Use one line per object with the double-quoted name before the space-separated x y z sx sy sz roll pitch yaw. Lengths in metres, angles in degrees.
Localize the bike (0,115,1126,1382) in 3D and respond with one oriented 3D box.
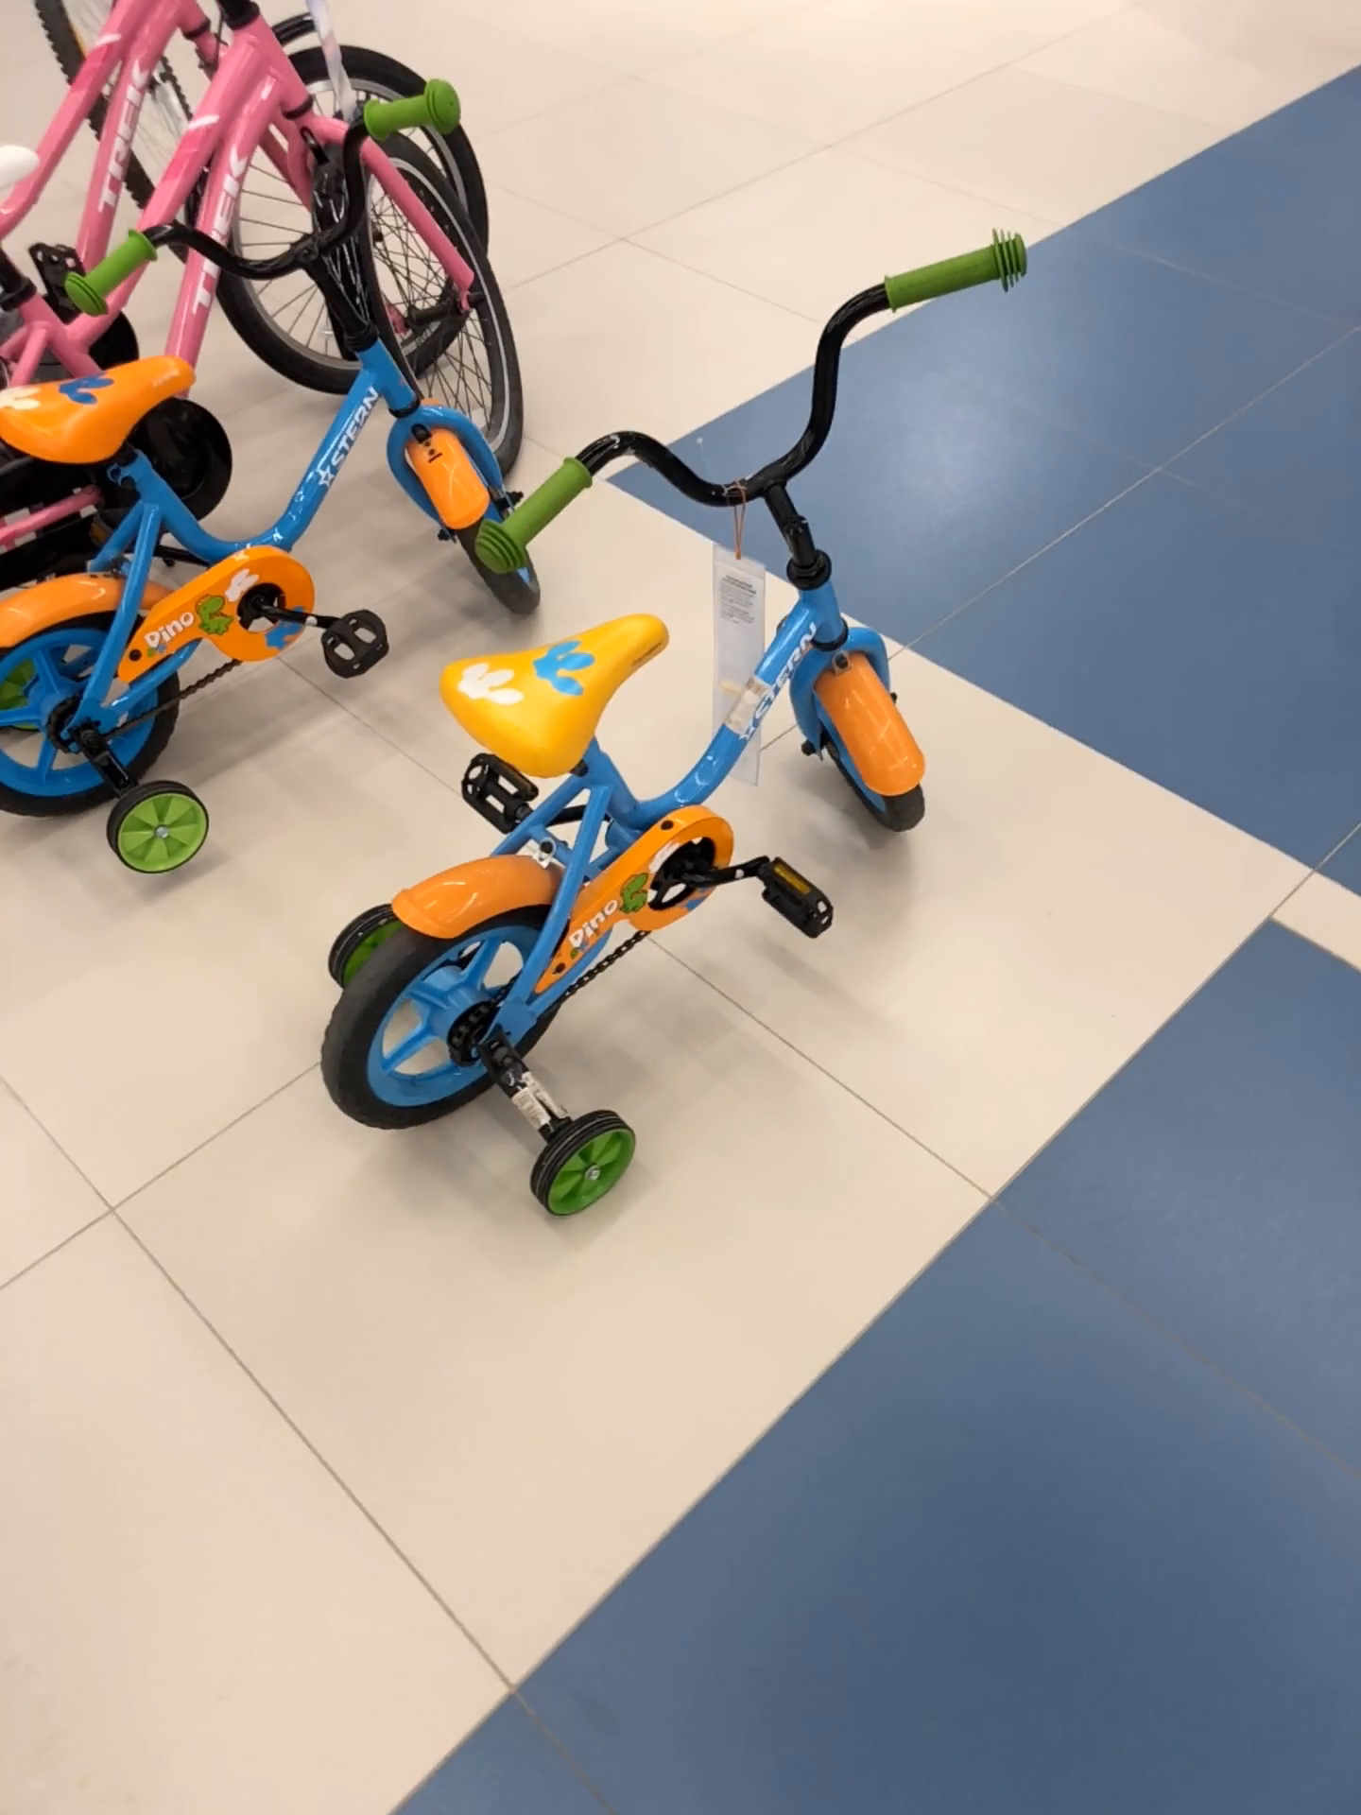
"bike" -0.058 -0.187 1.357 0.565 0.681 0.753 27 52 25
